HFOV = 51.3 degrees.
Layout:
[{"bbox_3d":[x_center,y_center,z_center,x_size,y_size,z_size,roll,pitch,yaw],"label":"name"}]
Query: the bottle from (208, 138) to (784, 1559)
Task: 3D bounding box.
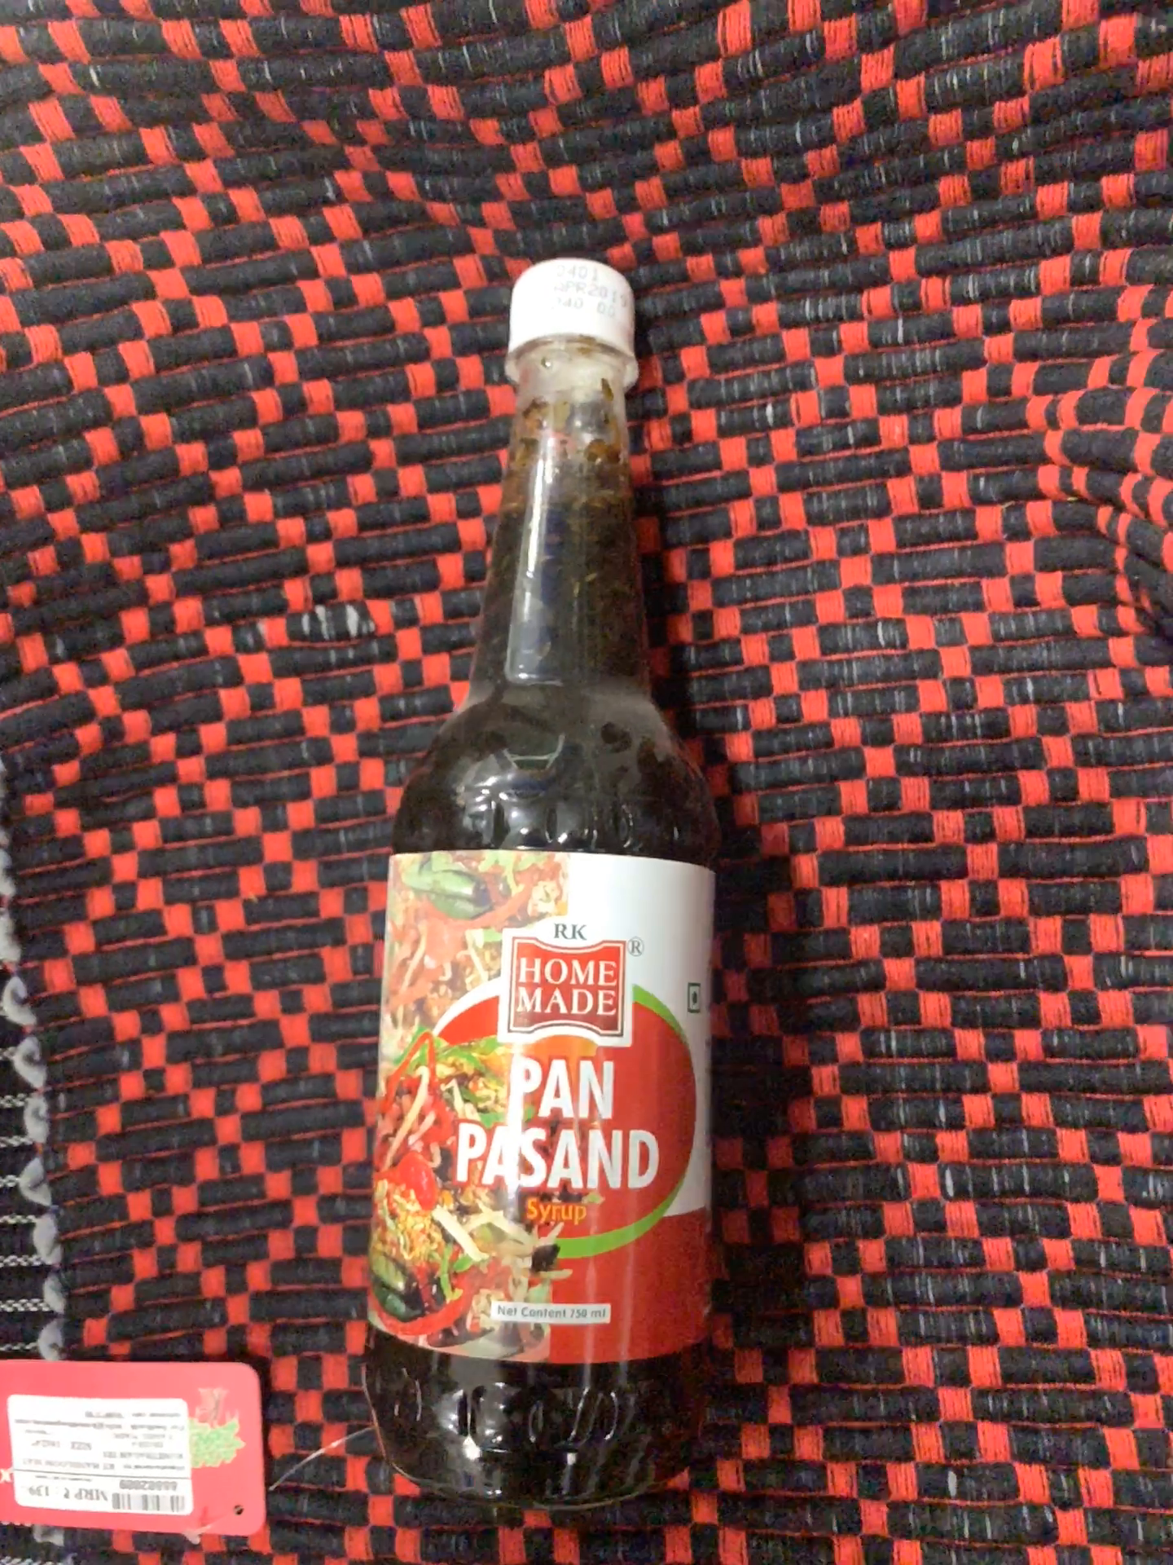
[{"bbox_3d":[-0.006,0.002,0.283,0.090,0.080,0.280,0,74,14],"label":"bottle"}]
